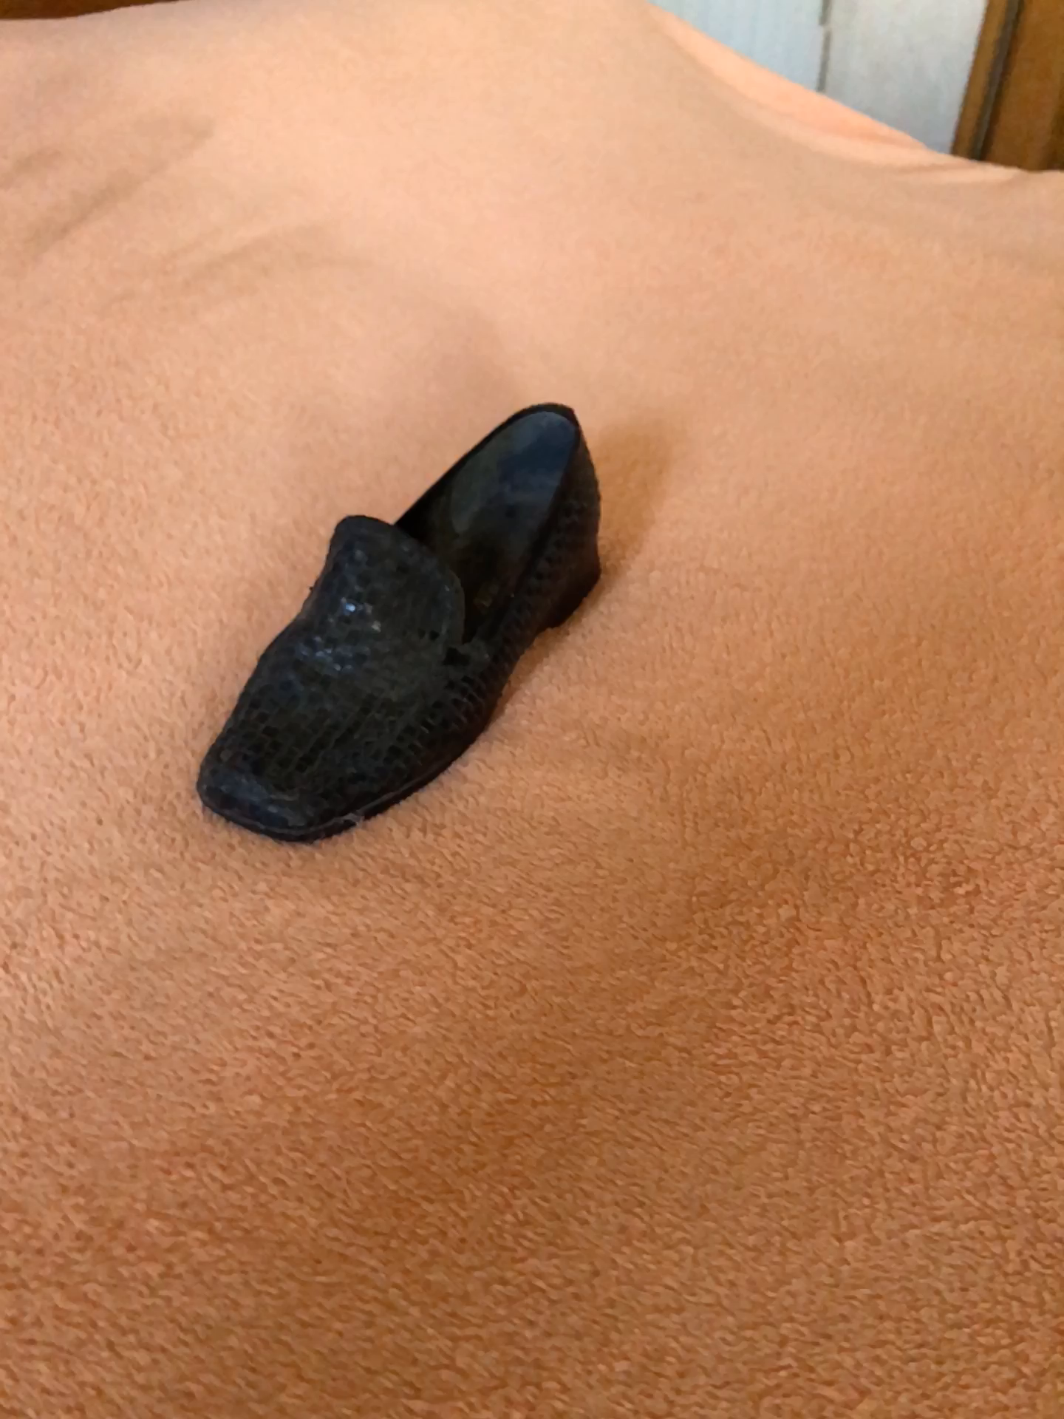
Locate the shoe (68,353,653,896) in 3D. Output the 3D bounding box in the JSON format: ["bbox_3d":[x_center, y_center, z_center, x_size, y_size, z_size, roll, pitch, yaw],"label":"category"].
[{"bbox_3d":[-0.054,-0.056,0.517,0.100,0.089,0.272,21,43,22],"label":"shoe"}]
